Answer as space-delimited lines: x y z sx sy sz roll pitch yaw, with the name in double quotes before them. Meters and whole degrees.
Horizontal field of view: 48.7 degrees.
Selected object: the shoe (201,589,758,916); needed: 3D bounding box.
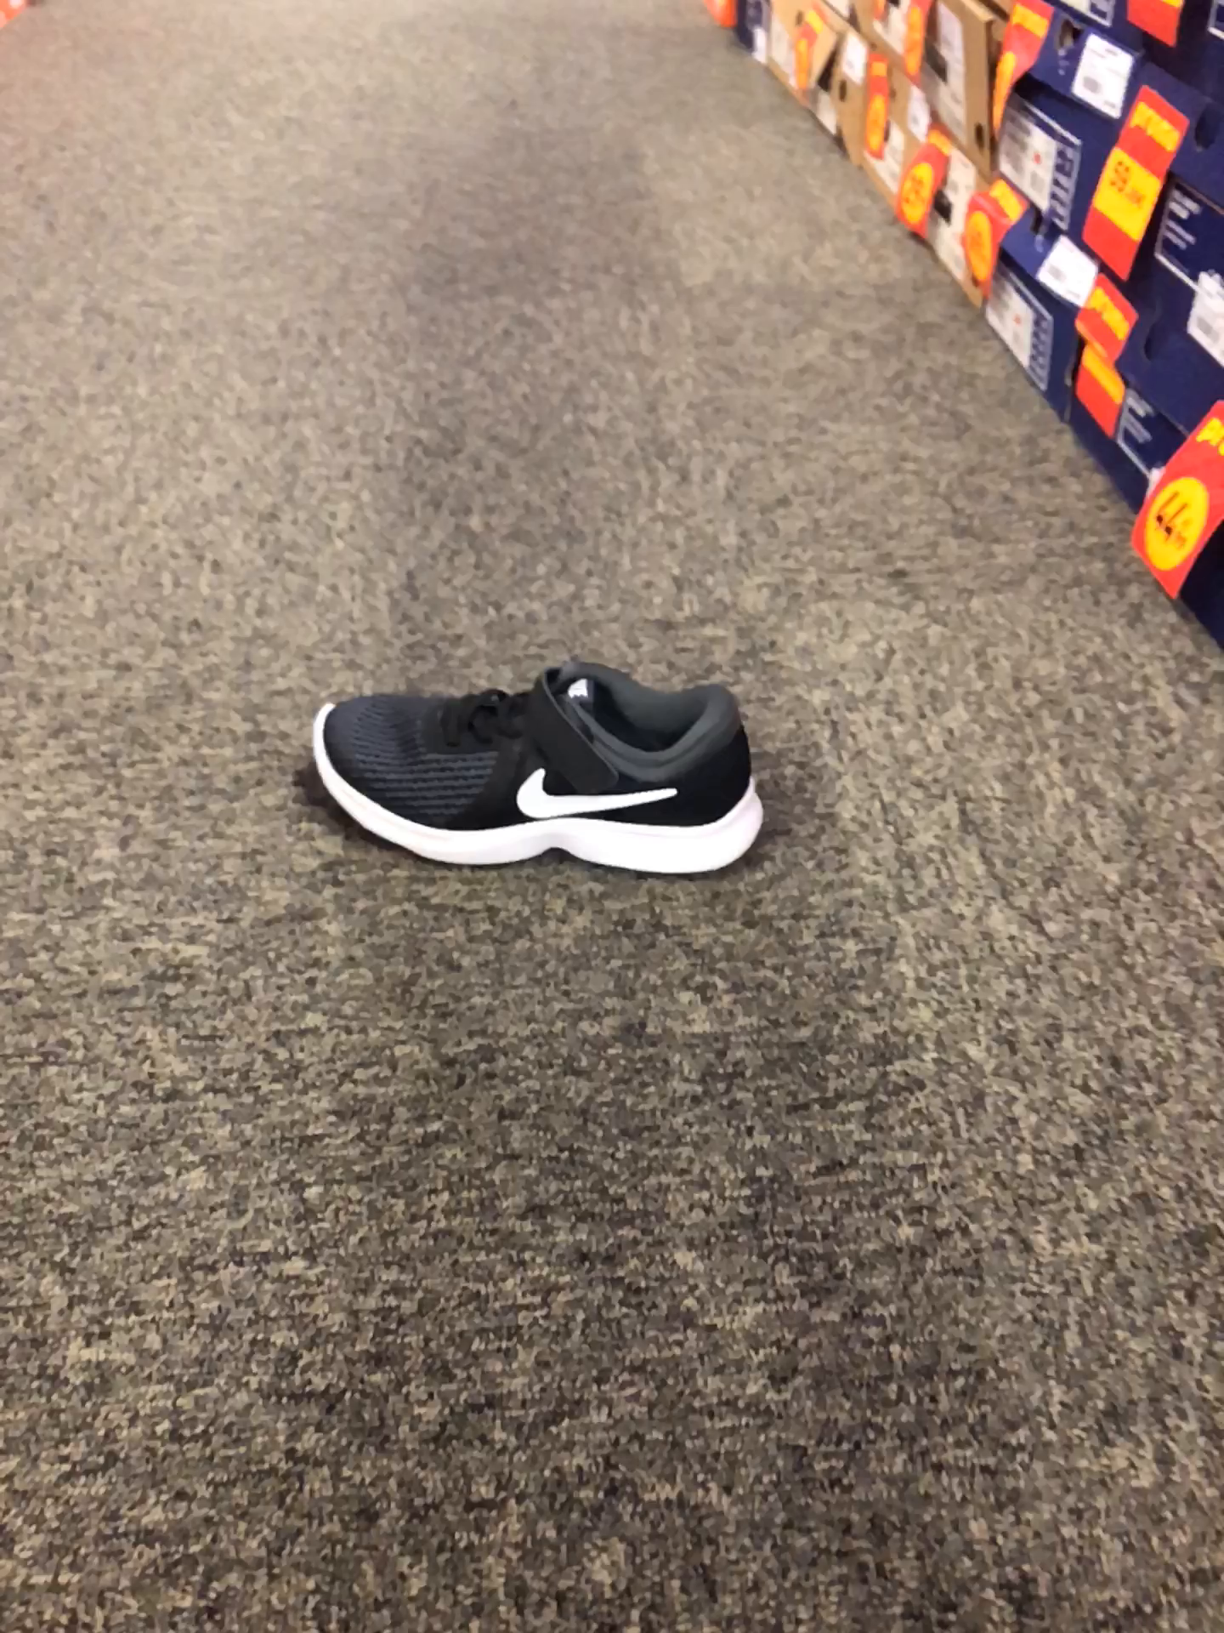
"shoe" -0.052 -0.031 0.595 0.217 0.080 0.091 7 42 9
